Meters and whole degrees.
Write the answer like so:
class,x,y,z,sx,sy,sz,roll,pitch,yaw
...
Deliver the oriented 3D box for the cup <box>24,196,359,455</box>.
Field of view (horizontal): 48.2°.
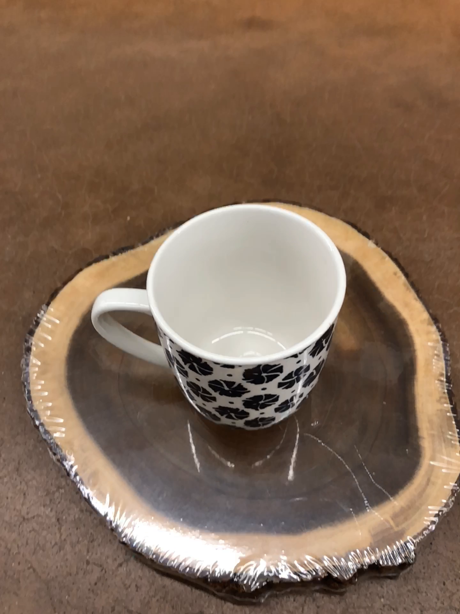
class,x,y,z,sx,sy,sz,roll,pitch,yaw
cup,-0.014,0.014,0.266,0.130,0.100,0.090,-2,56,2
